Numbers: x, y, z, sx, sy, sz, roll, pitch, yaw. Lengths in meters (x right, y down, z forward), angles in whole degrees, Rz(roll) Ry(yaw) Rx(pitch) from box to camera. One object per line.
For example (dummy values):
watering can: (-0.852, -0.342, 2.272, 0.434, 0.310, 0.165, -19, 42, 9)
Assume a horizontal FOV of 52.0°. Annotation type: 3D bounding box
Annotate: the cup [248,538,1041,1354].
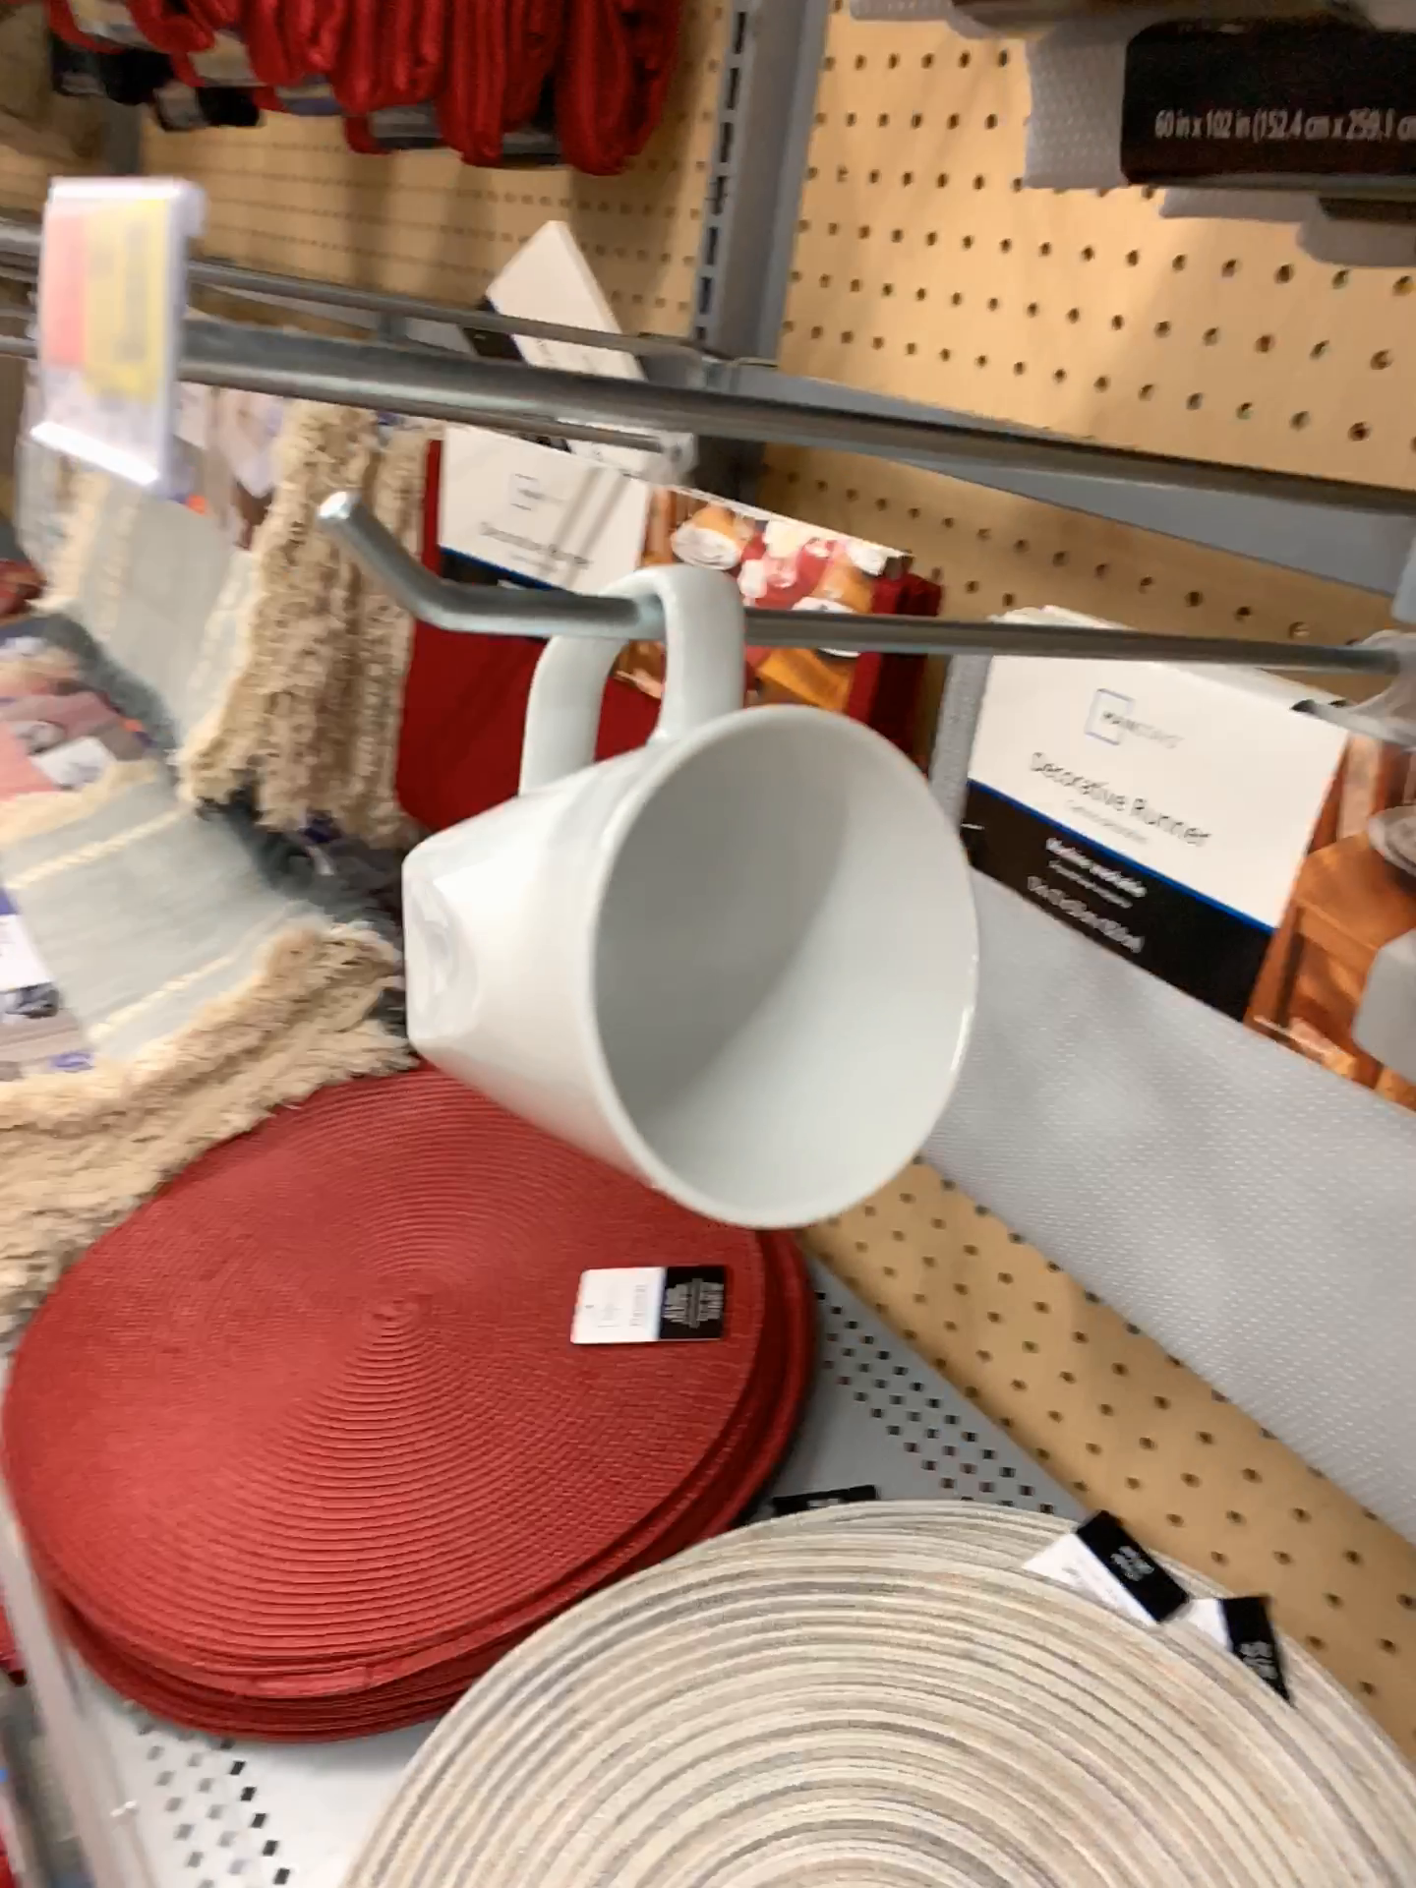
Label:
cup: (-0.020, -0.015, 0.289, 0.090, 0.120, 0.140, -9, 16, -33)
